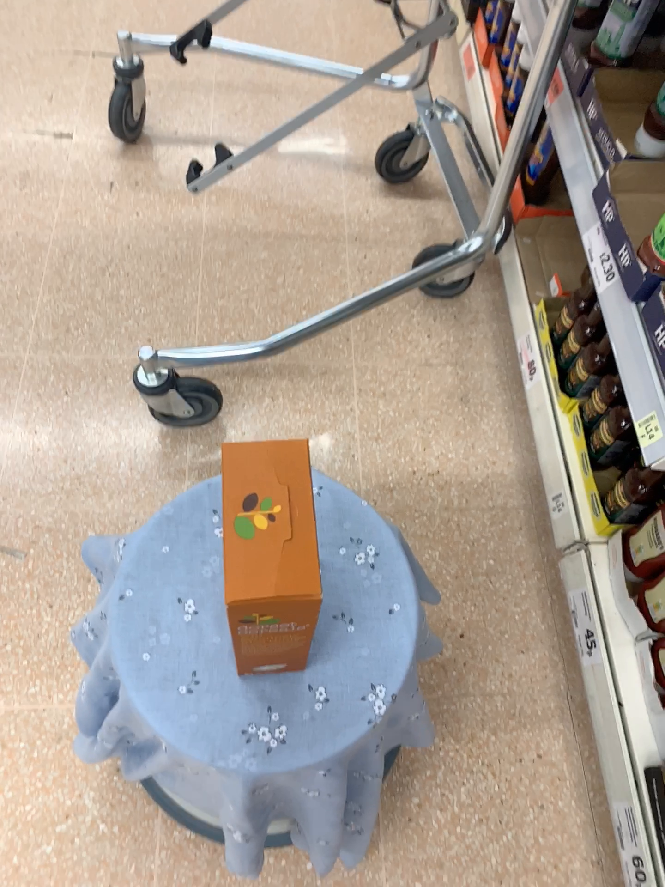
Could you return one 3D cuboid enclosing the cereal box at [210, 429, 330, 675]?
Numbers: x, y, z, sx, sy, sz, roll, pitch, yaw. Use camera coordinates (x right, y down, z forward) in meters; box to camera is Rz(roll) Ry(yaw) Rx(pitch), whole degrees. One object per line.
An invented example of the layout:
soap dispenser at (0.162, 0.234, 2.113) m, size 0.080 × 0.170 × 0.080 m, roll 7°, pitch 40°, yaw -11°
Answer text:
cereal box at (-0.053, 0.099, 0.541) m, size 0.070 × 0.228 × 0.121 m, roll -3°, pitch 62°, yaw -7°
